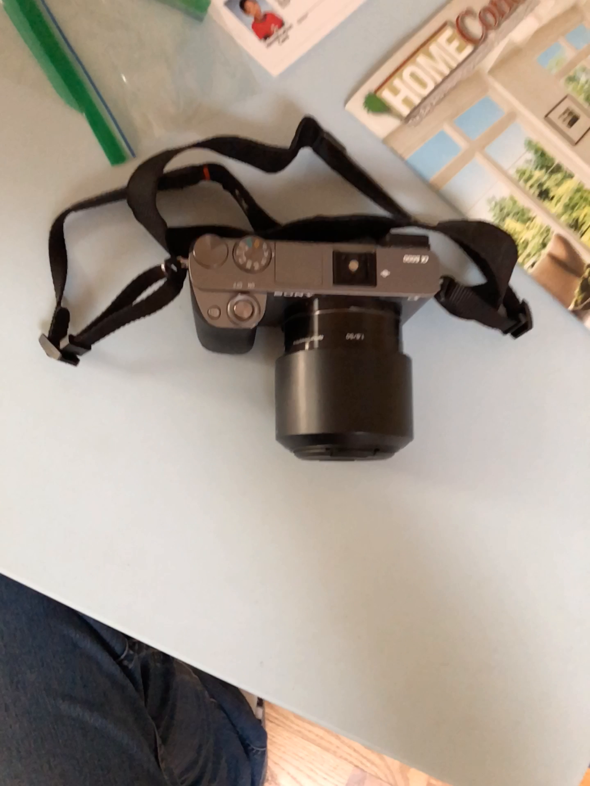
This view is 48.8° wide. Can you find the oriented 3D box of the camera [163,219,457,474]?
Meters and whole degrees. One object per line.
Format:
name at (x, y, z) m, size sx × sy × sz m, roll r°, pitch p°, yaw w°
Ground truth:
camera at (0.005, -0.017, 0.329) m, size 0.130 × 0.070 × 0.110 m, roll 2°, pitch 80°, yaw -6°
